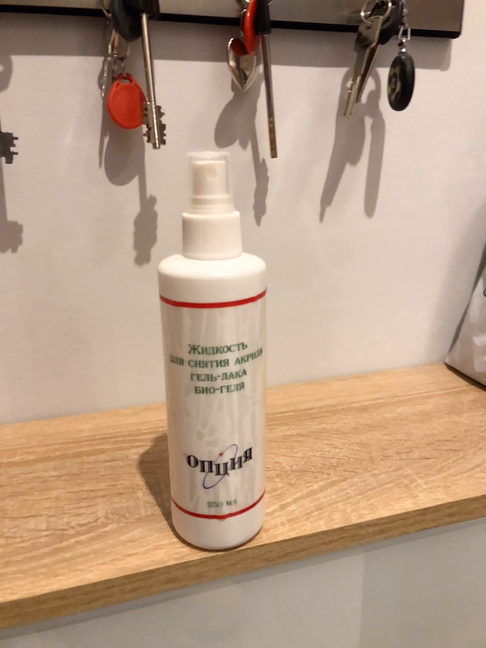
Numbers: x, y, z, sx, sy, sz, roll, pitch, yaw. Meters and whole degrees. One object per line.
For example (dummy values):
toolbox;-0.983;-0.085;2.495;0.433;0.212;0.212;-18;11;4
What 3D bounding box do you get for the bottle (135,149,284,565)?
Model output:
bottle;-0.016;0.014;0.254;0.056;0.183;0.060;-1;18;0
